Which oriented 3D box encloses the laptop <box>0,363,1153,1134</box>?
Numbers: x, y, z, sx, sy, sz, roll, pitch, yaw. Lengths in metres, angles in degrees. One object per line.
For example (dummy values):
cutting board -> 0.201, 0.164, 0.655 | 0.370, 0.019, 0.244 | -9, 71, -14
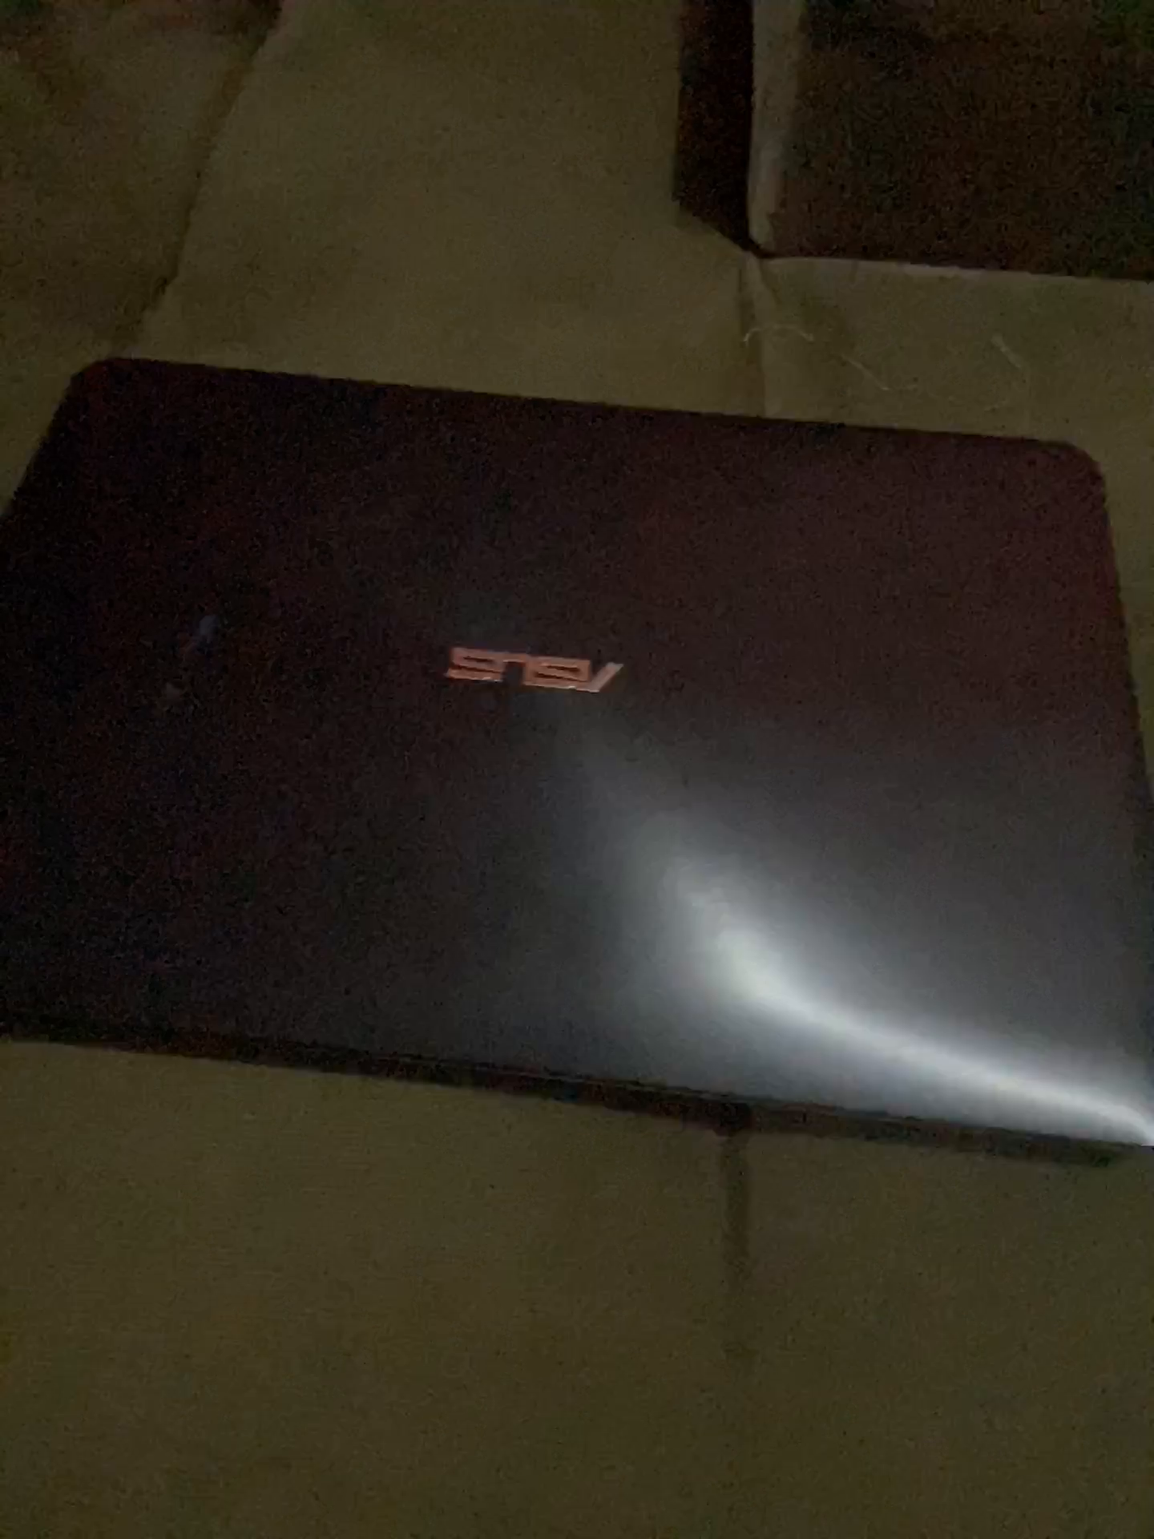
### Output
laptop -> -0.004, -0.029, 0.373 | 0.369, 0.004, 0.235 | 6, 60, 4
